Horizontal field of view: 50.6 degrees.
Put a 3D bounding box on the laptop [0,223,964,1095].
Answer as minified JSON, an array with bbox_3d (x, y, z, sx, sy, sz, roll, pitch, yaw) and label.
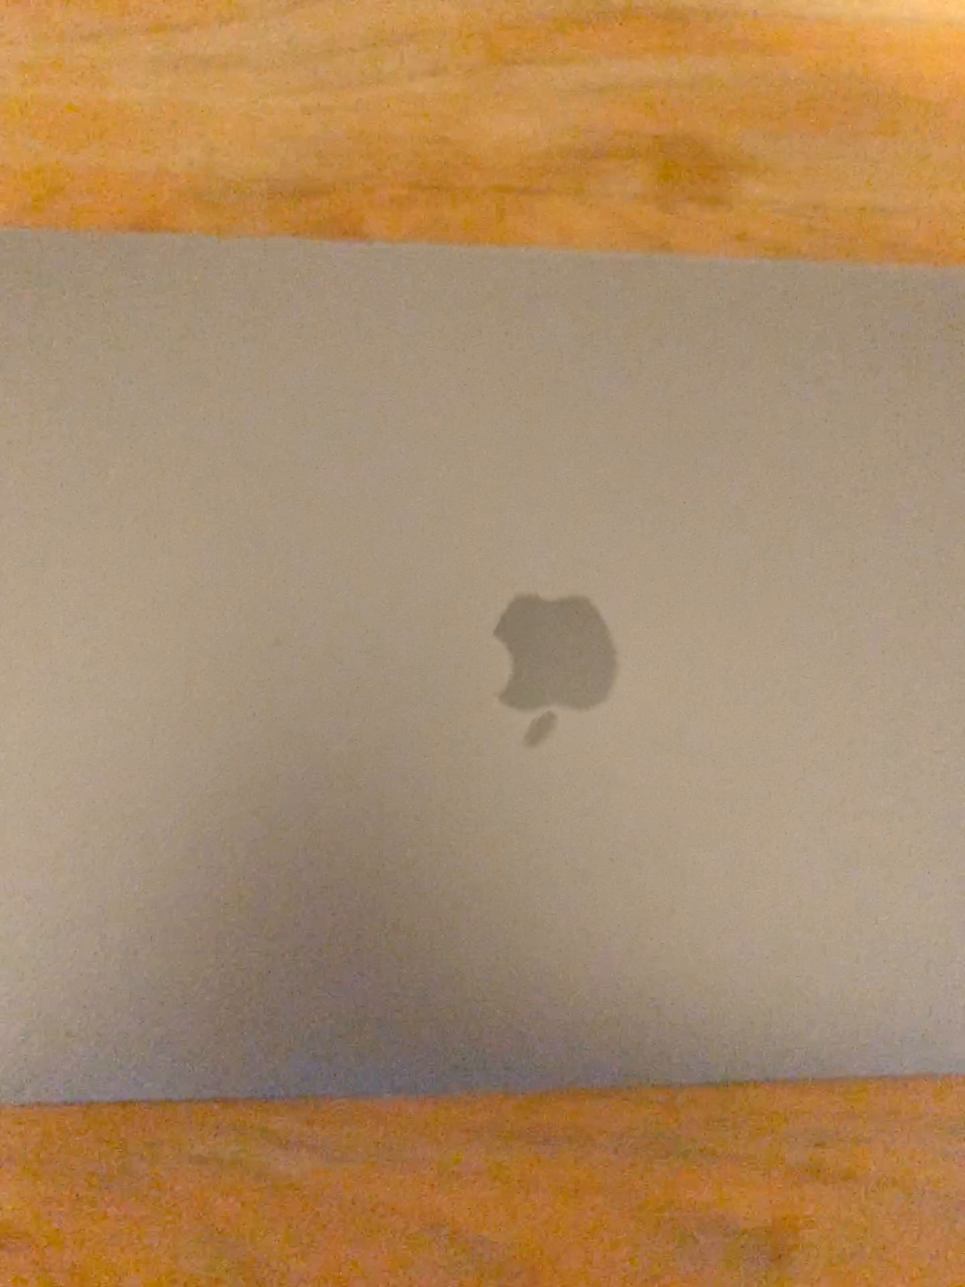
[{"bbox_3d":[0.015,0.004,0.257,0.292,0.005,0.210,1,86,-3],"label":"laptop"}]
